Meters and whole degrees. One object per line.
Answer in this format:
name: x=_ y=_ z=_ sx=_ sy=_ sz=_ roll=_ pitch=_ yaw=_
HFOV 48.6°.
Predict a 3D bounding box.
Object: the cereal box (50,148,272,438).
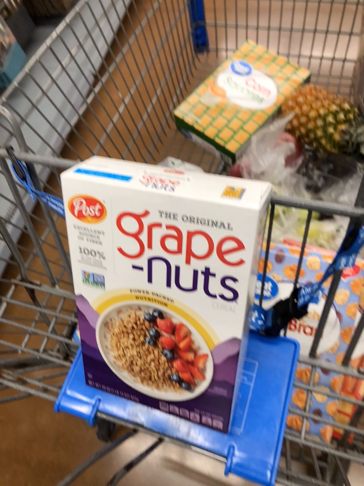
cereal box: x=-0.023 y=0.052 z=0.379 sx=0.170 sy=0.250 sz=0.050 roll=12 pitch=30 yaw=17
